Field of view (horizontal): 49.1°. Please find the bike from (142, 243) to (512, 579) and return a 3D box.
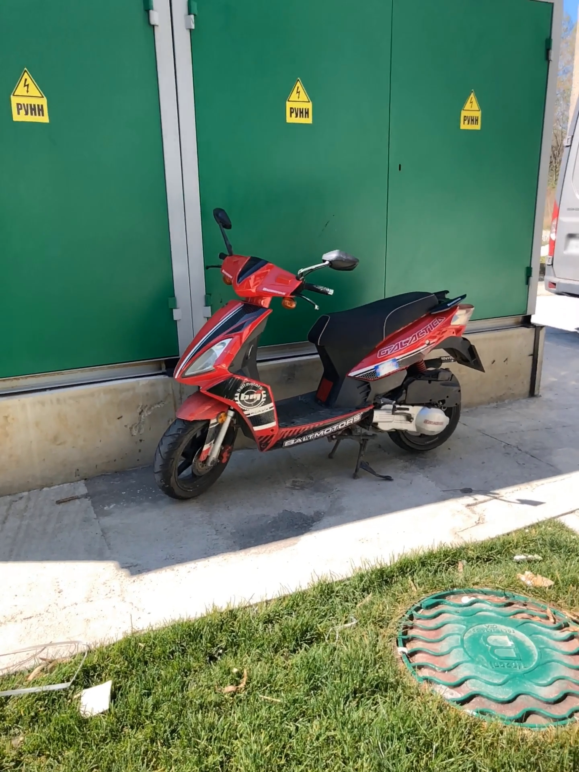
[{"bbox_3d":[0.198,-0.014,2.816,1.591,1.087,0.590,-9,17,-22],"label":"bike"}]
